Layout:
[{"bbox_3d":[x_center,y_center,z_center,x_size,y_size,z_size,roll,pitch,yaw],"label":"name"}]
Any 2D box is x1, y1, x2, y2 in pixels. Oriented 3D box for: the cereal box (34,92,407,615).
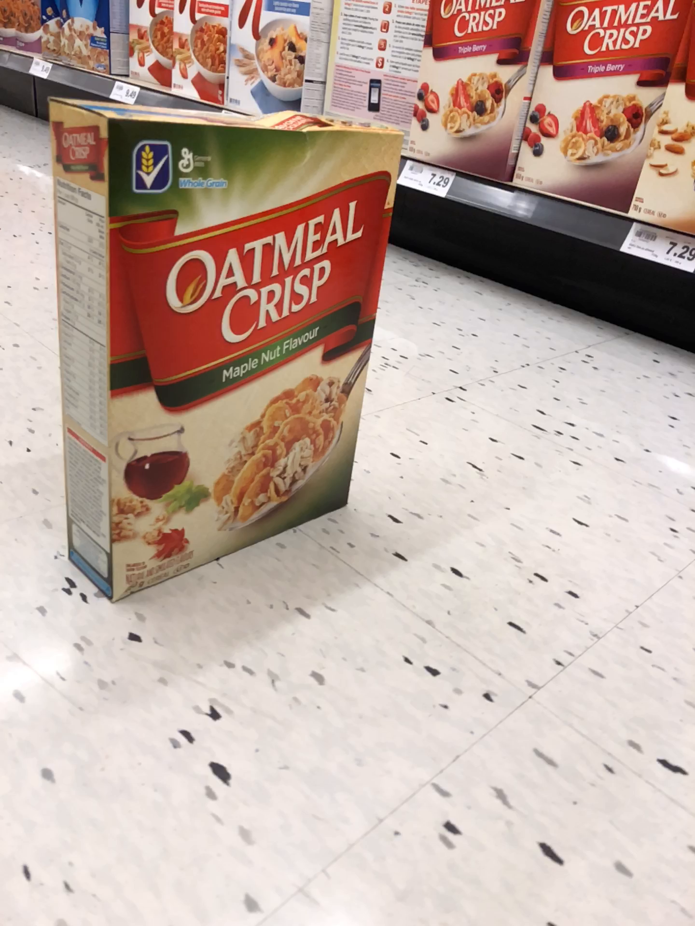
[{"bbox_3d":[-0.070,-0.065,0.449,0.050,0.258,0.201,30,34,34],"label":"cereal box"}]
